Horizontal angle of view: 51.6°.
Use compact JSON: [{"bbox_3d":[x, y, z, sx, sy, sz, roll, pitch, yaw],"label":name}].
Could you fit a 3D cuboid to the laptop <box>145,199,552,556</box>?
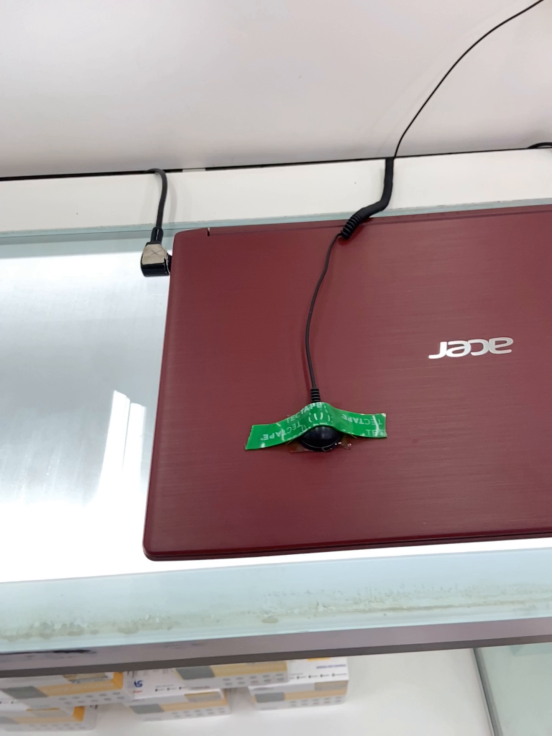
[{"bbox_3d":[0.115,-0.021,0.360,0.367,0.006,0.263,-4,48,-1],"label":"laptop"}]
